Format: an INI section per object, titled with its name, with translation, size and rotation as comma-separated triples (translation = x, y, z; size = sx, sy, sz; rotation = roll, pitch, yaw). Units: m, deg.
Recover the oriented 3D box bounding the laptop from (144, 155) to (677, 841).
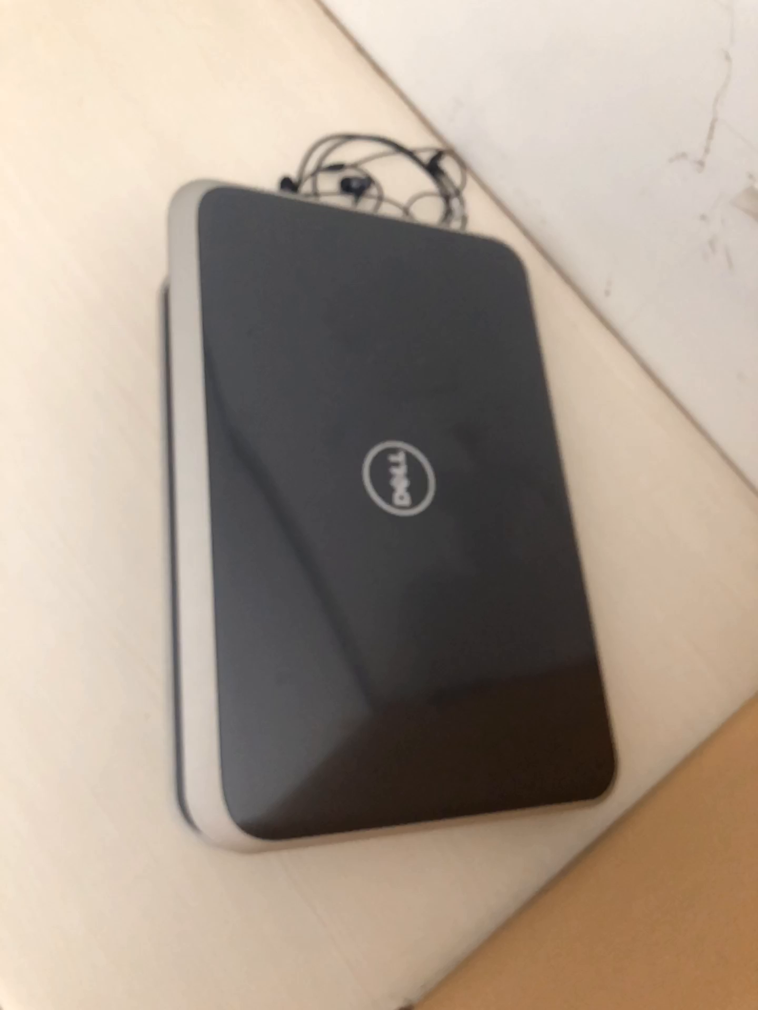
[laptop]
translation = -0.001, -0.016, 0.481
size = 0.238, 0.094, 0.357
rotation = -3, 71, -9
